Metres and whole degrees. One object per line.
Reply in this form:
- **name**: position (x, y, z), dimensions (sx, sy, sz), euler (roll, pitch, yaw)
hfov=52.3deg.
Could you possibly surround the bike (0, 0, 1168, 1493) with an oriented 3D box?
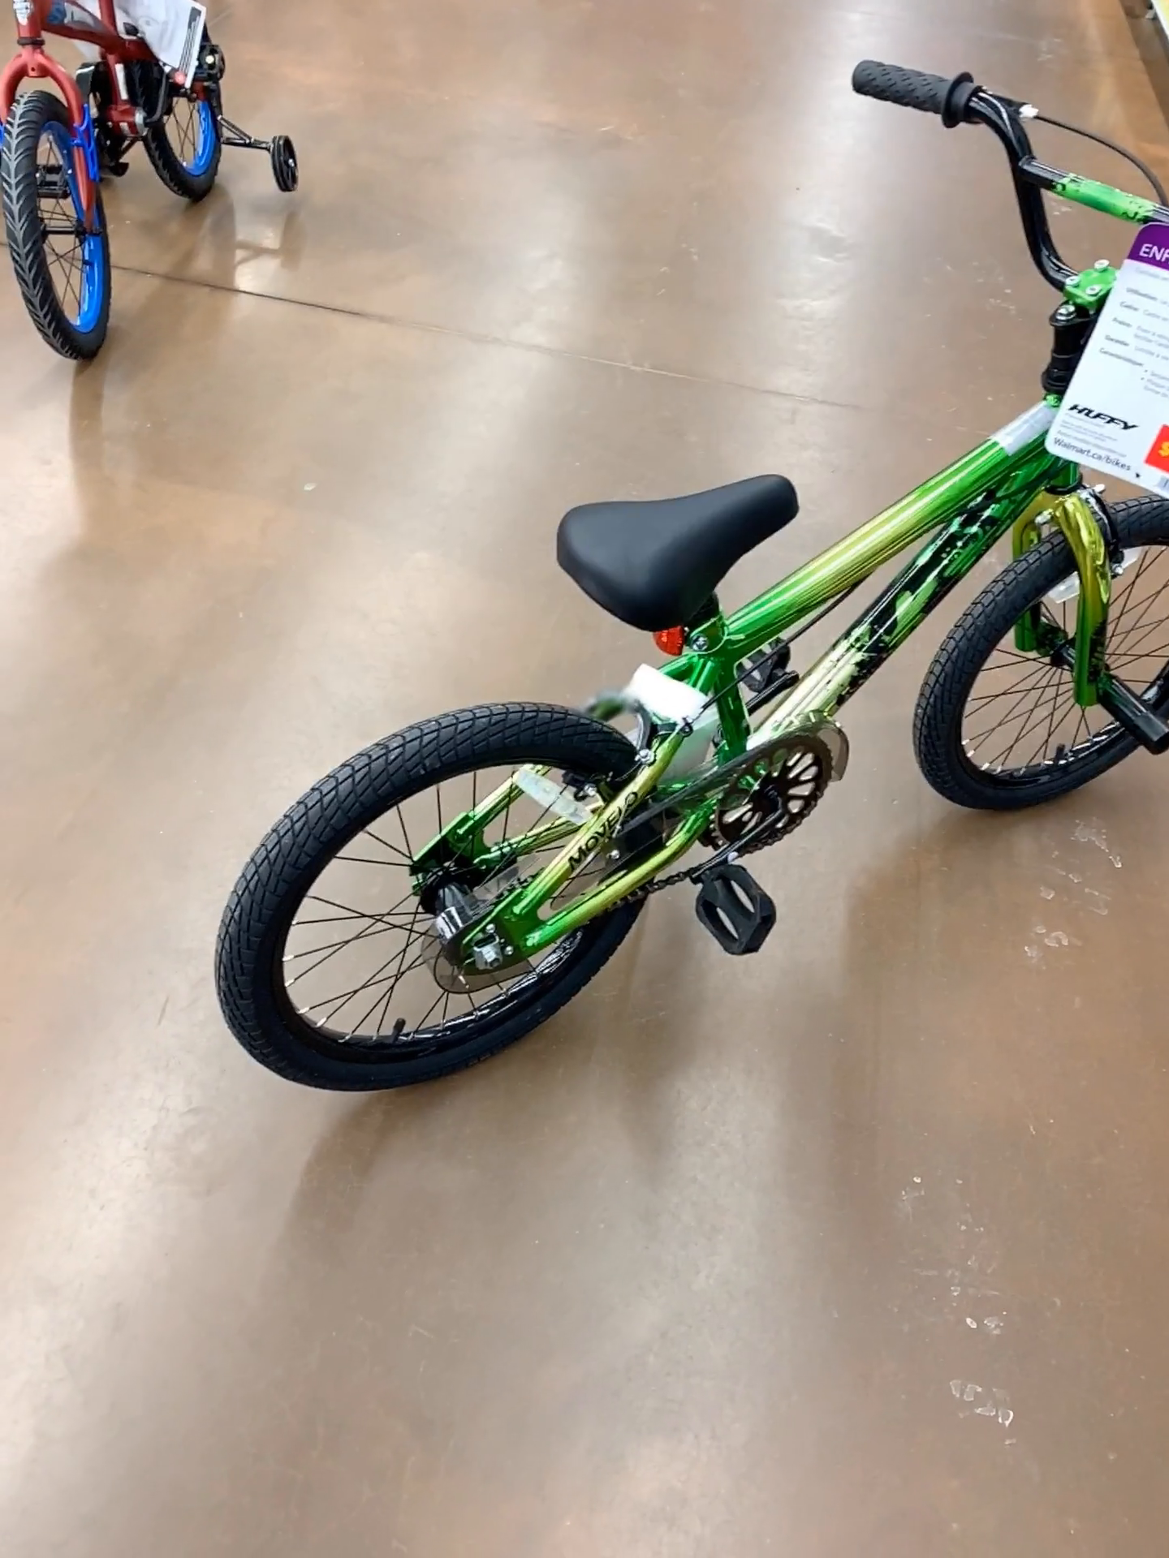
- **bike**: position (0.380, -0.144, 1.157), dimensions (1.407, 1.034, 0.720), euler (-22, 52, -17)
